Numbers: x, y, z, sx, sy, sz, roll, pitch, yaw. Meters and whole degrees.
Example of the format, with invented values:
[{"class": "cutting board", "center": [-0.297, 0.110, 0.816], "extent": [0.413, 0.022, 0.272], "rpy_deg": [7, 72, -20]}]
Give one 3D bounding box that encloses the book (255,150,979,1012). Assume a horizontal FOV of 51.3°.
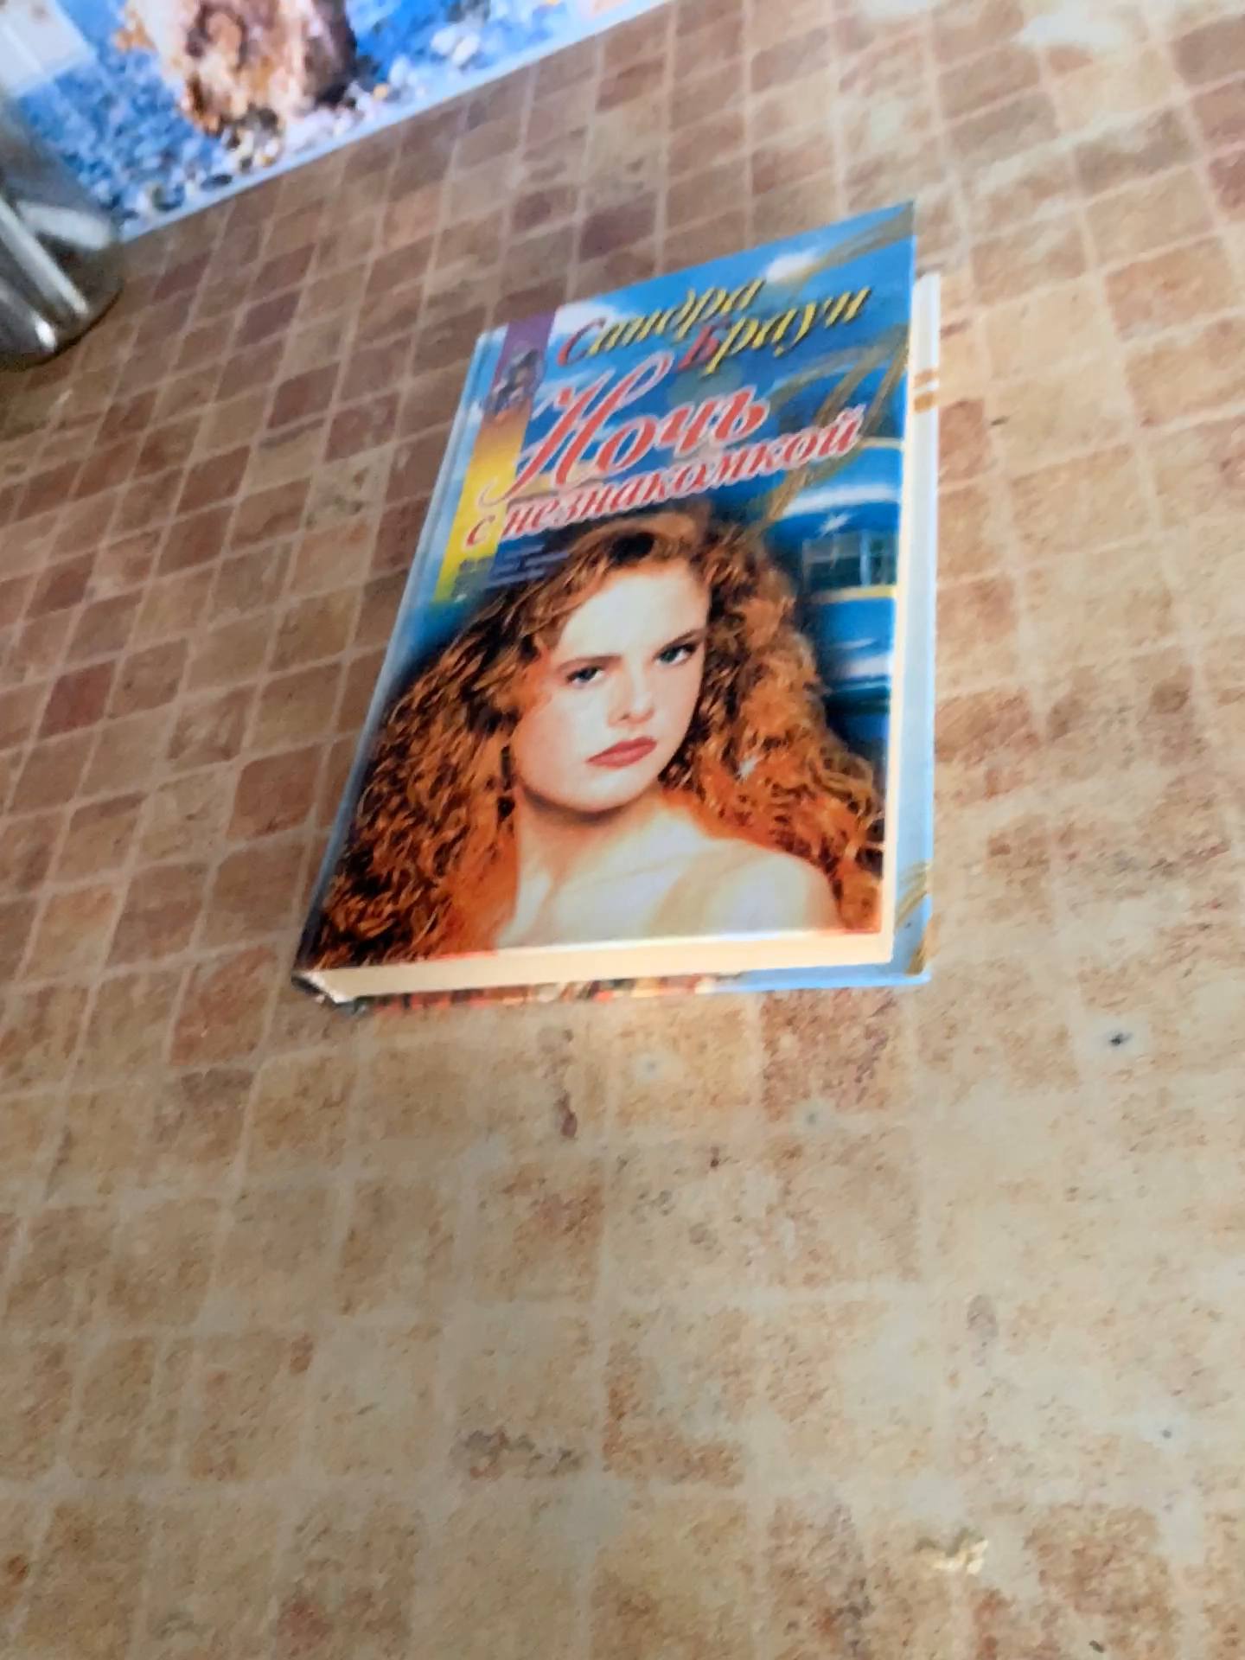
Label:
[{"class": "book", "center": [0.008, -0.059, 0.286], "extent": [0.130, 0.028, 0.198], "rpy_deg": [-6, 56, 26]}]
